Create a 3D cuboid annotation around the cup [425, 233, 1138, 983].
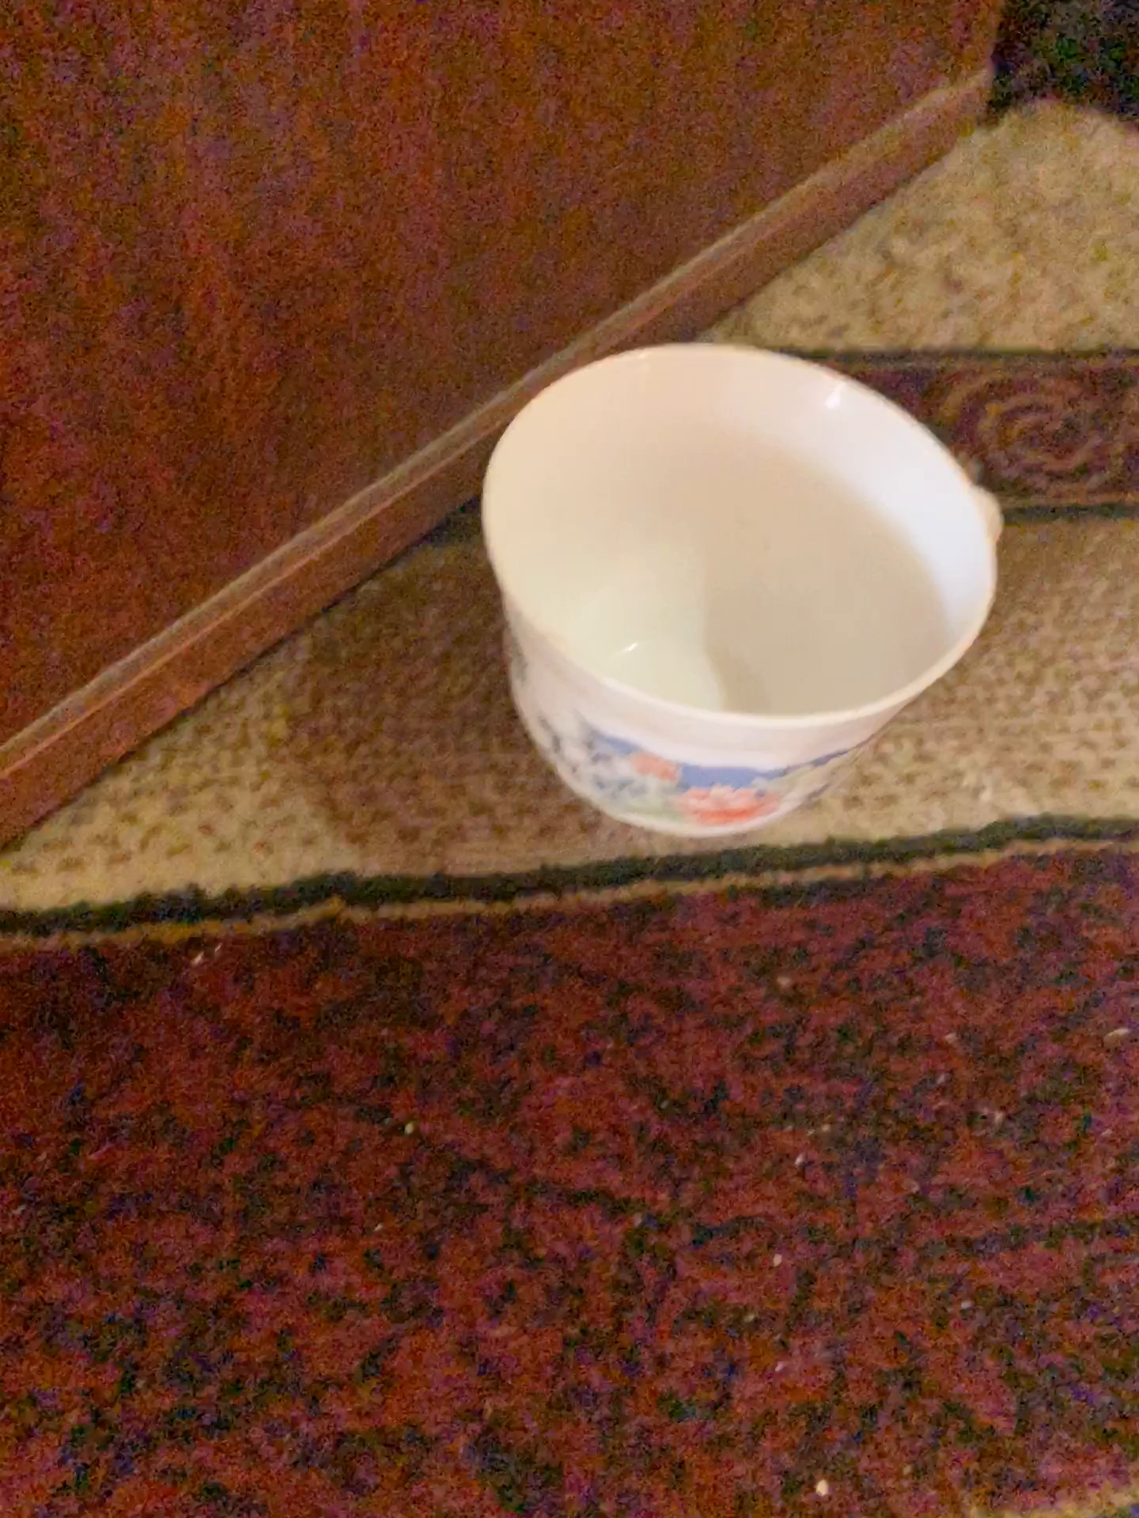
[{"bbox_3d":[0.044,-0.031,0.204,0.110,0.053,0.083,-24,60,-19],"label":"cup"}]
